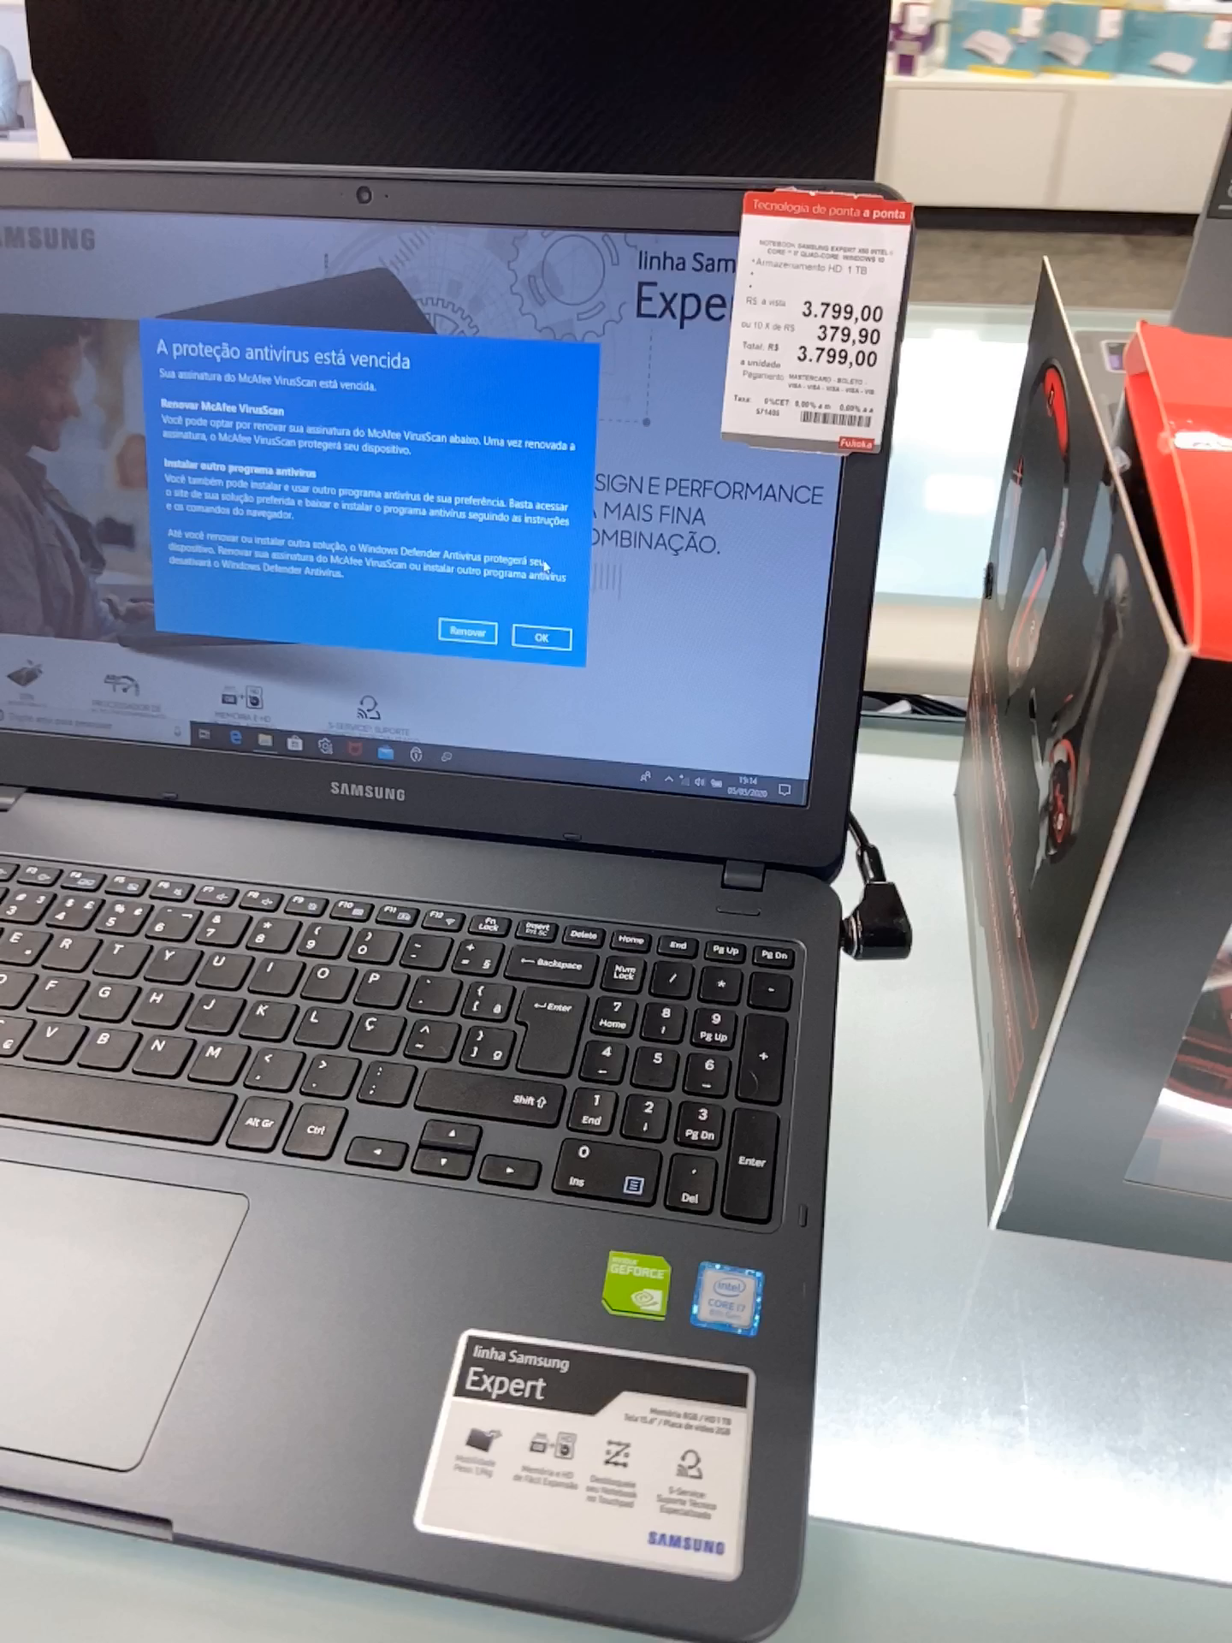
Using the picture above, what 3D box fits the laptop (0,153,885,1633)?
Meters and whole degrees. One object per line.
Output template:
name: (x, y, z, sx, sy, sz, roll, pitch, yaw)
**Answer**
laptop: (-0.118, -0.030, 0.388, 0.370, 0.207, 0.373, 5, 44, 8)
